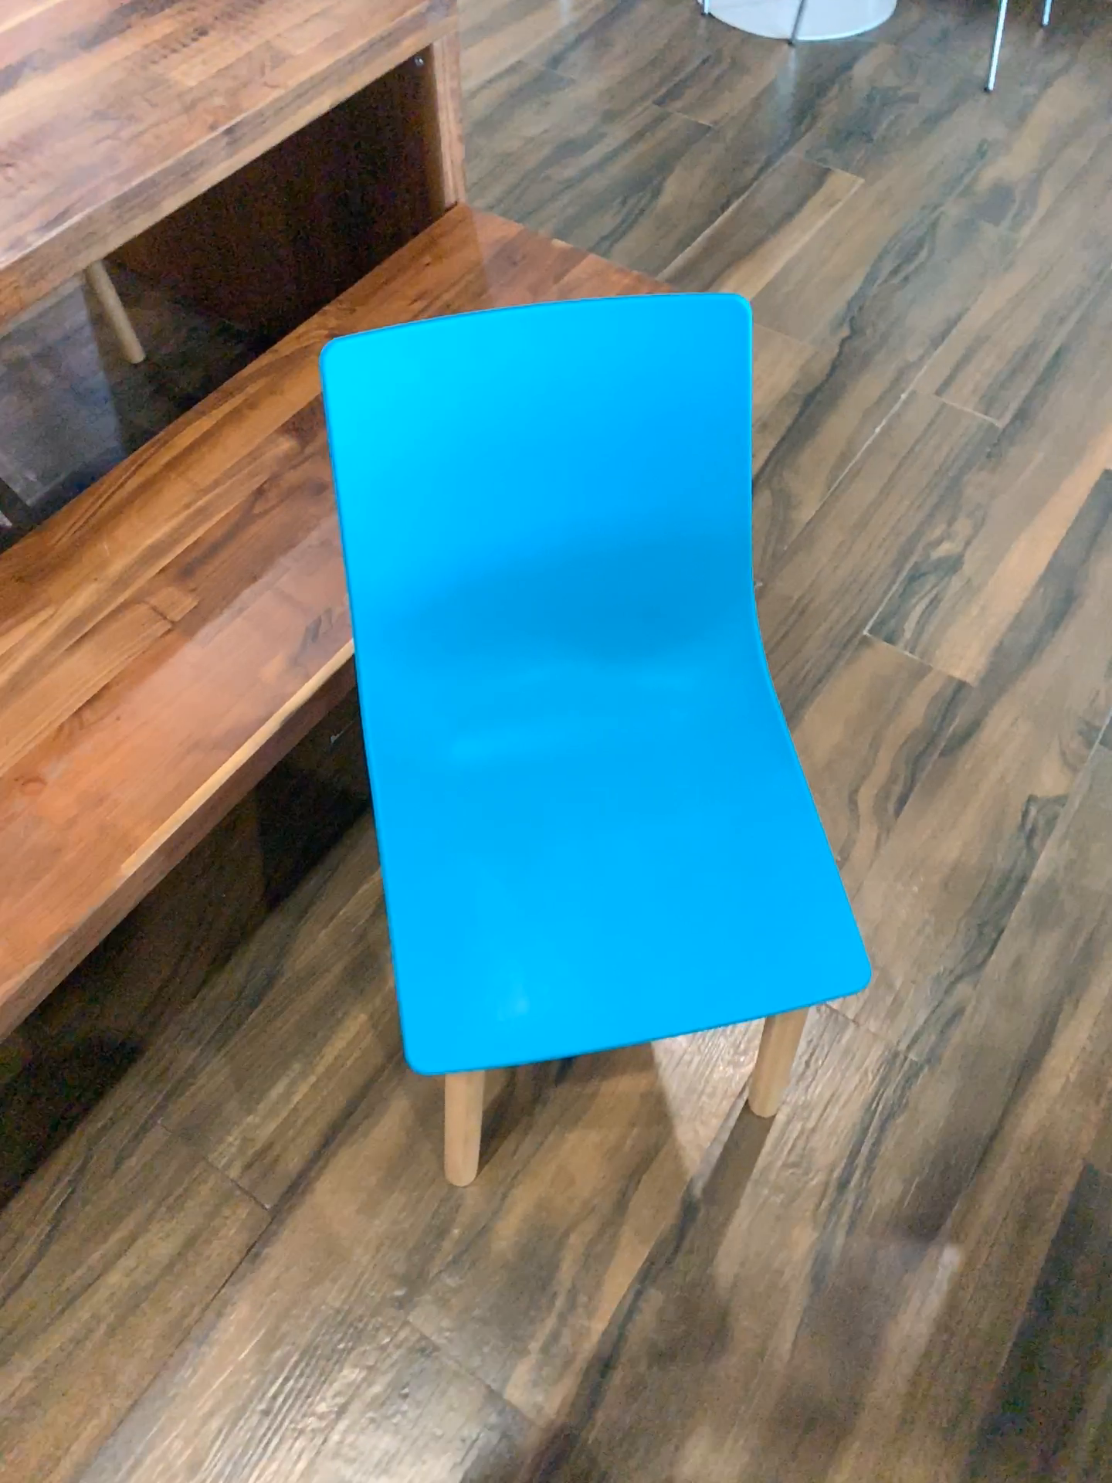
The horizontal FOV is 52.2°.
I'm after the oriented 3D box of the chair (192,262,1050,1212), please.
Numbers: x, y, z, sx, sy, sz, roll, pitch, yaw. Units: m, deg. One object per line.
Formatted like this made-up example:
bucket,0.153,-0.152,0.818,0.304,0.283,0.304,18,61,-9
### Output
chair,-0.005,0.029,1.109,0.510,0.666,0.584,-9,56,-7
